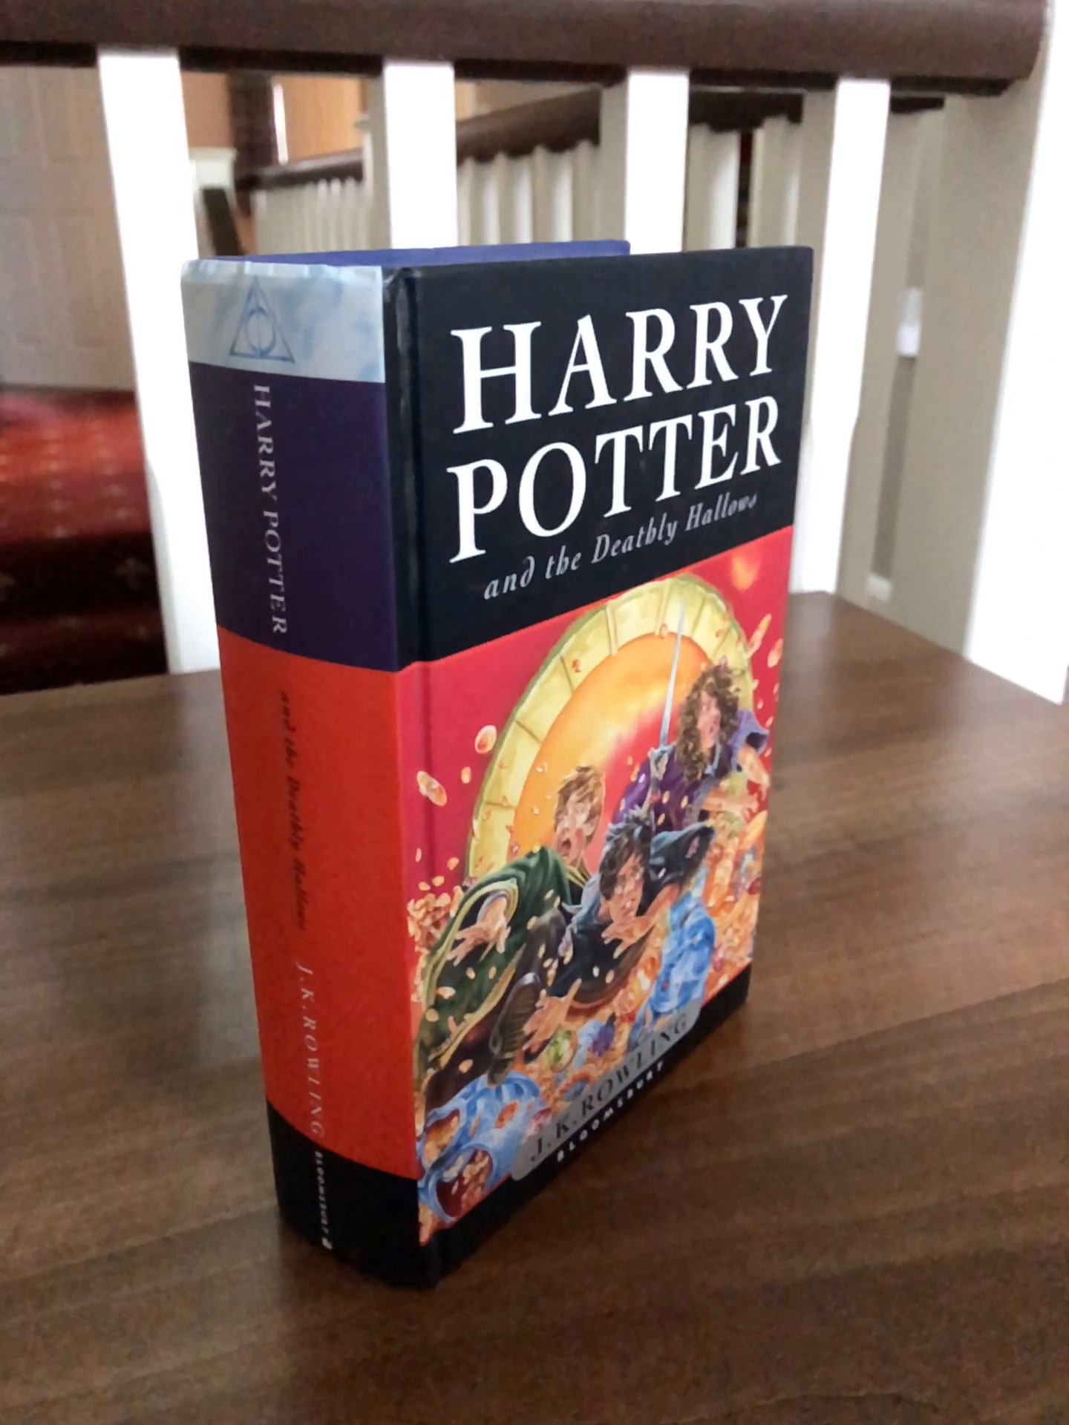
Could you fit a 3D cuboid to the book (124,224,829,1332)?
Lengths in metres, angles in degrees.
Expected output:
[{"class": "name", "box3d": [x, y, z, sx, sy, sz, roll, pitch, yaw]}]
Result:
[{"class": "book", "box3d": [-0.002, 0.001, 0.273, 0.060, 0.209, 0.141, 17, 27, 37]}]
